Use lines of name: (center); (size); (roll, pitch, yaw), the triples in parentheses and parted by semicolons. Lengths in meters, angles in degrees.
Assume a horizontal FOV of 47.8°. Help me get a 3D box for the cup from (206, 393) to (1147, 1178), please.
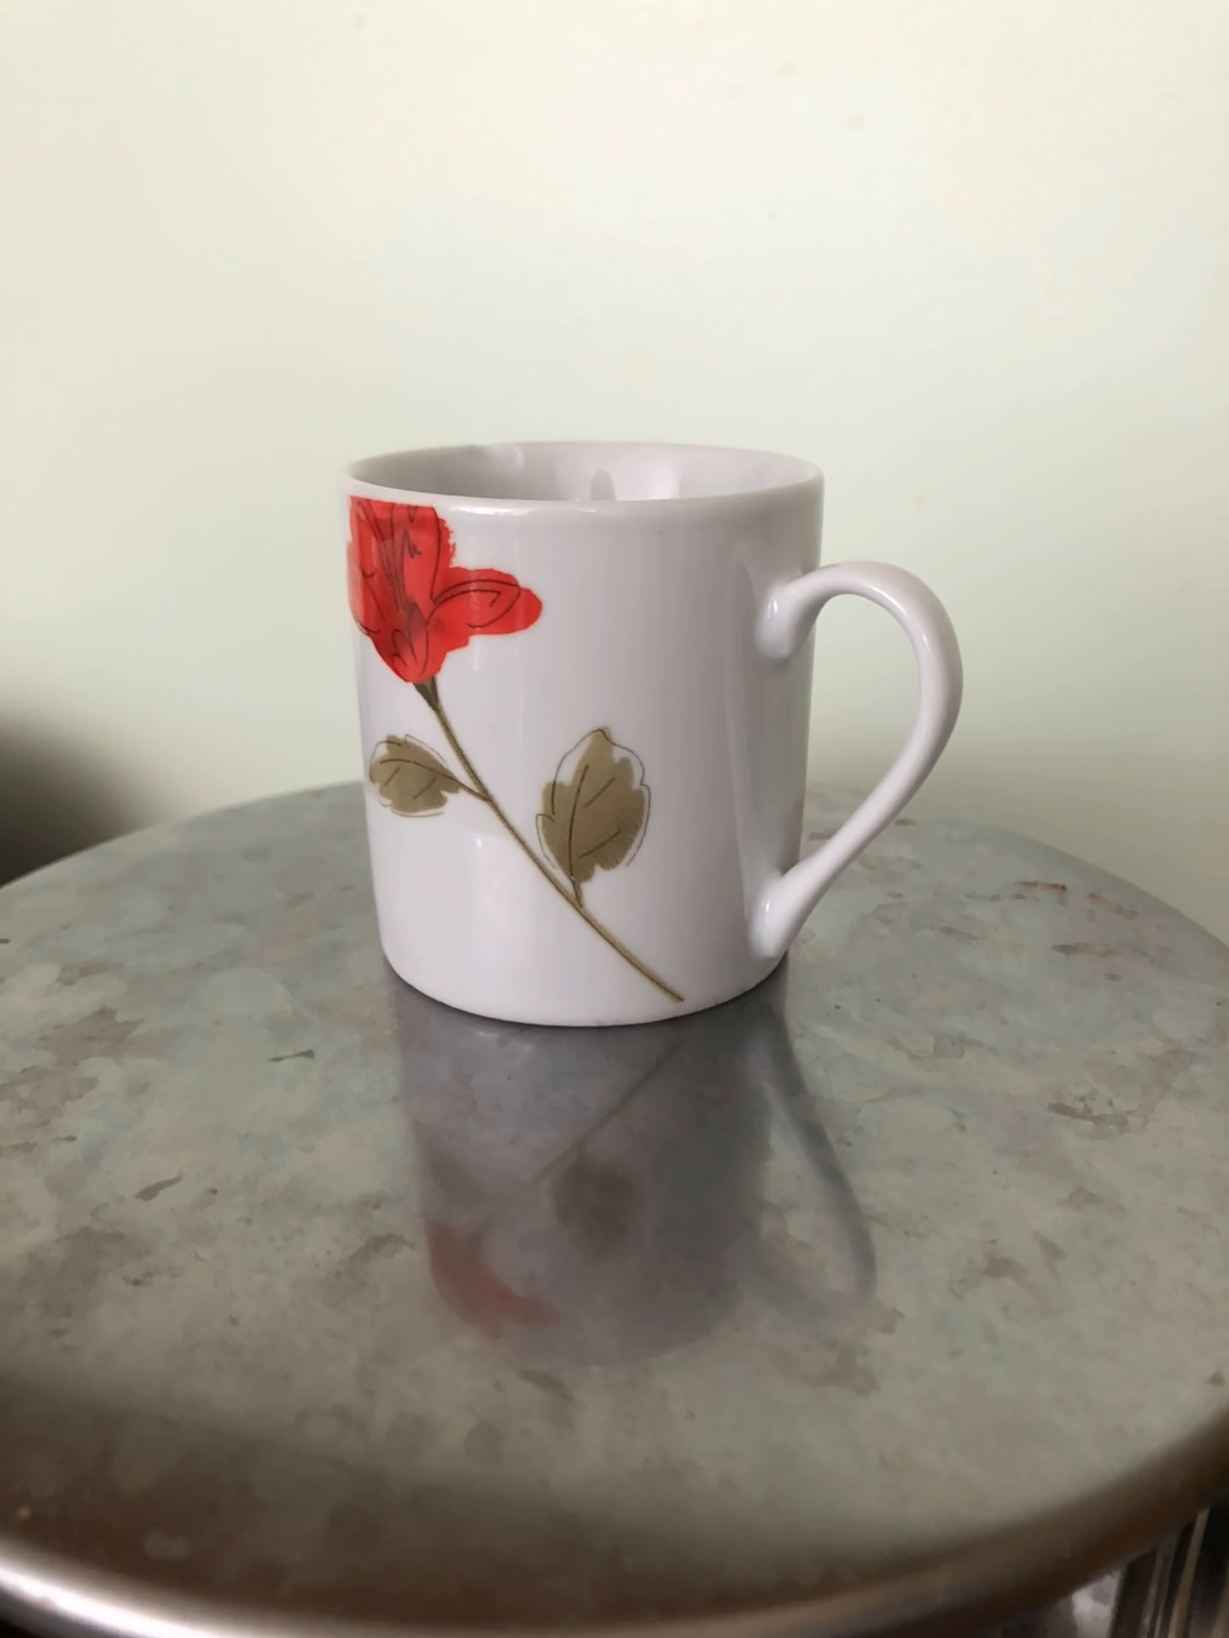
cup: (0.008, -0.013, 0.157); (0.080, 0.060, 0.060); (13, 24, 29)
